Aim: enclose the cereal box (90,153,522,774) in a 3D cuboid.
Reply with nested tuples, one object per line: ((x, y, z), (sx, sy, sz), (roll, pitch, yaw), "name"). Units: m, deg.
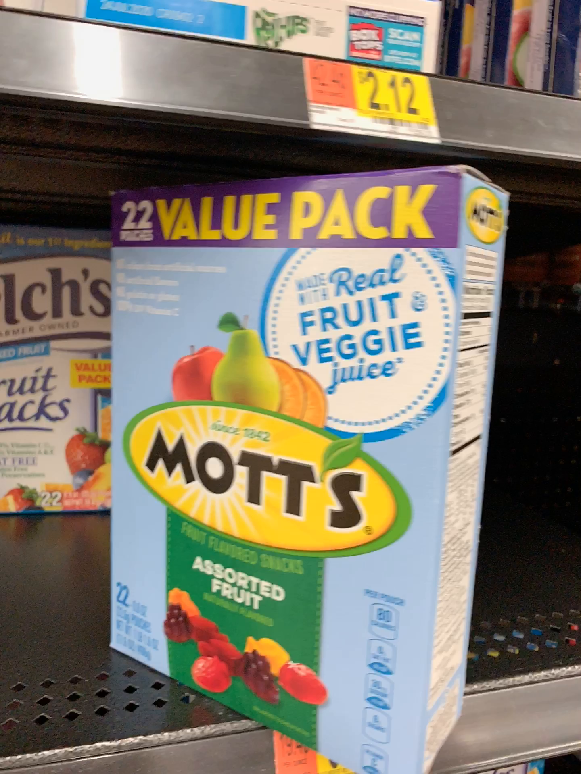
((-0.007, 0.030, 0.280), (0.180, 0.239, 0.060), (9, 11, 31), "cereal box")
